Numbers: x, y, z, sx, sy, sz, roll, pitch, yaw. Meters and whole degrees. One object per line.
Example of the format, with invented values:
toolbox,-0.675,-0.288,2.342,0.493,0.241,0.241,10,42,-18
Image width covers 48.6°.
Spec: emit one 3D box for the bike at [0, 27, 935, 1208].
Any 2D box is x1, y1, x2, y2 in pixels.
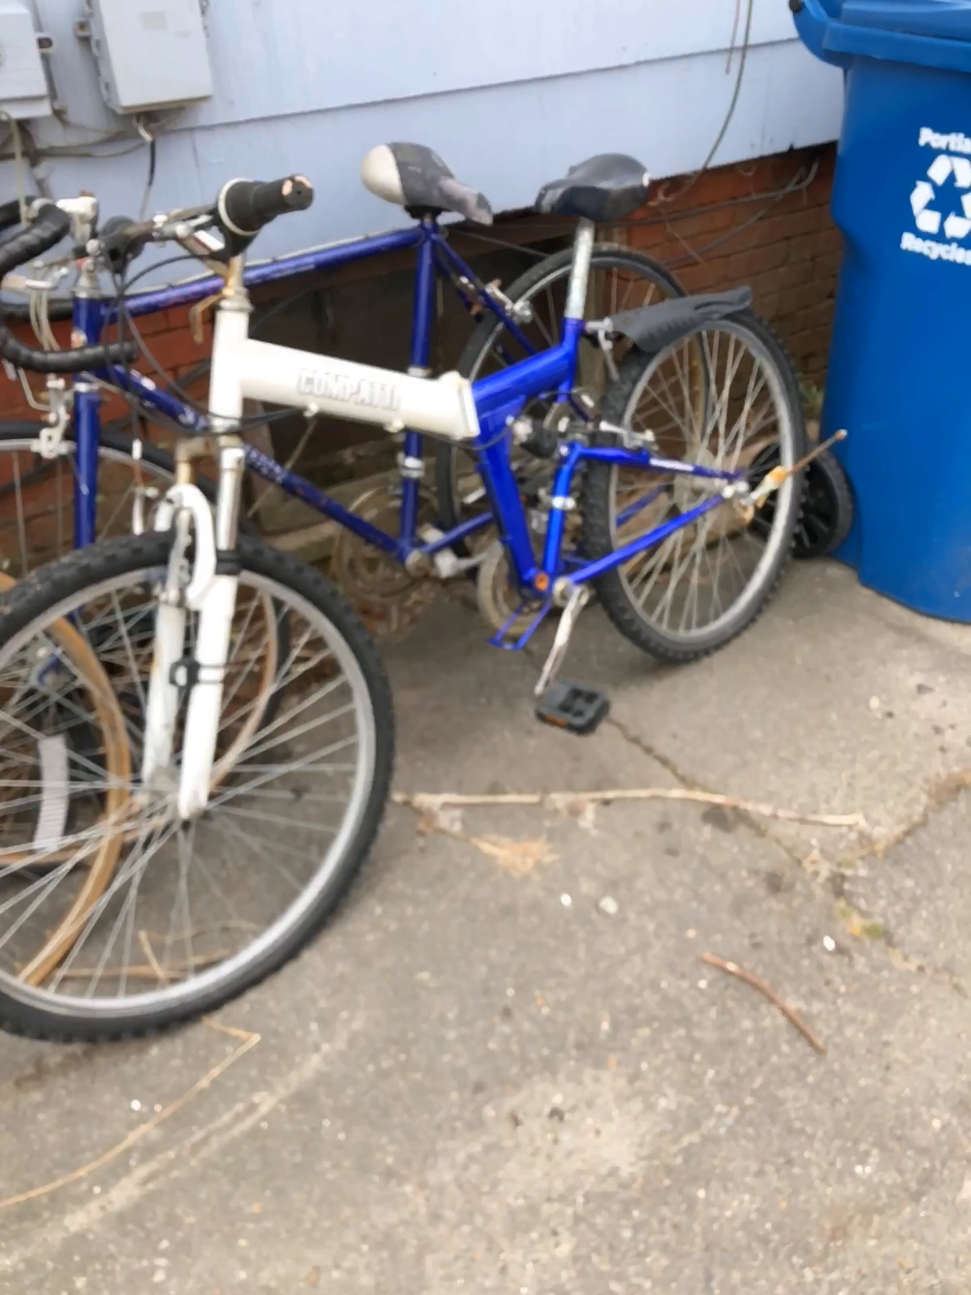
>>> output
bike,-0.100,-0.228,1.670,1.734,0.979,0.563,-33,45,-32
